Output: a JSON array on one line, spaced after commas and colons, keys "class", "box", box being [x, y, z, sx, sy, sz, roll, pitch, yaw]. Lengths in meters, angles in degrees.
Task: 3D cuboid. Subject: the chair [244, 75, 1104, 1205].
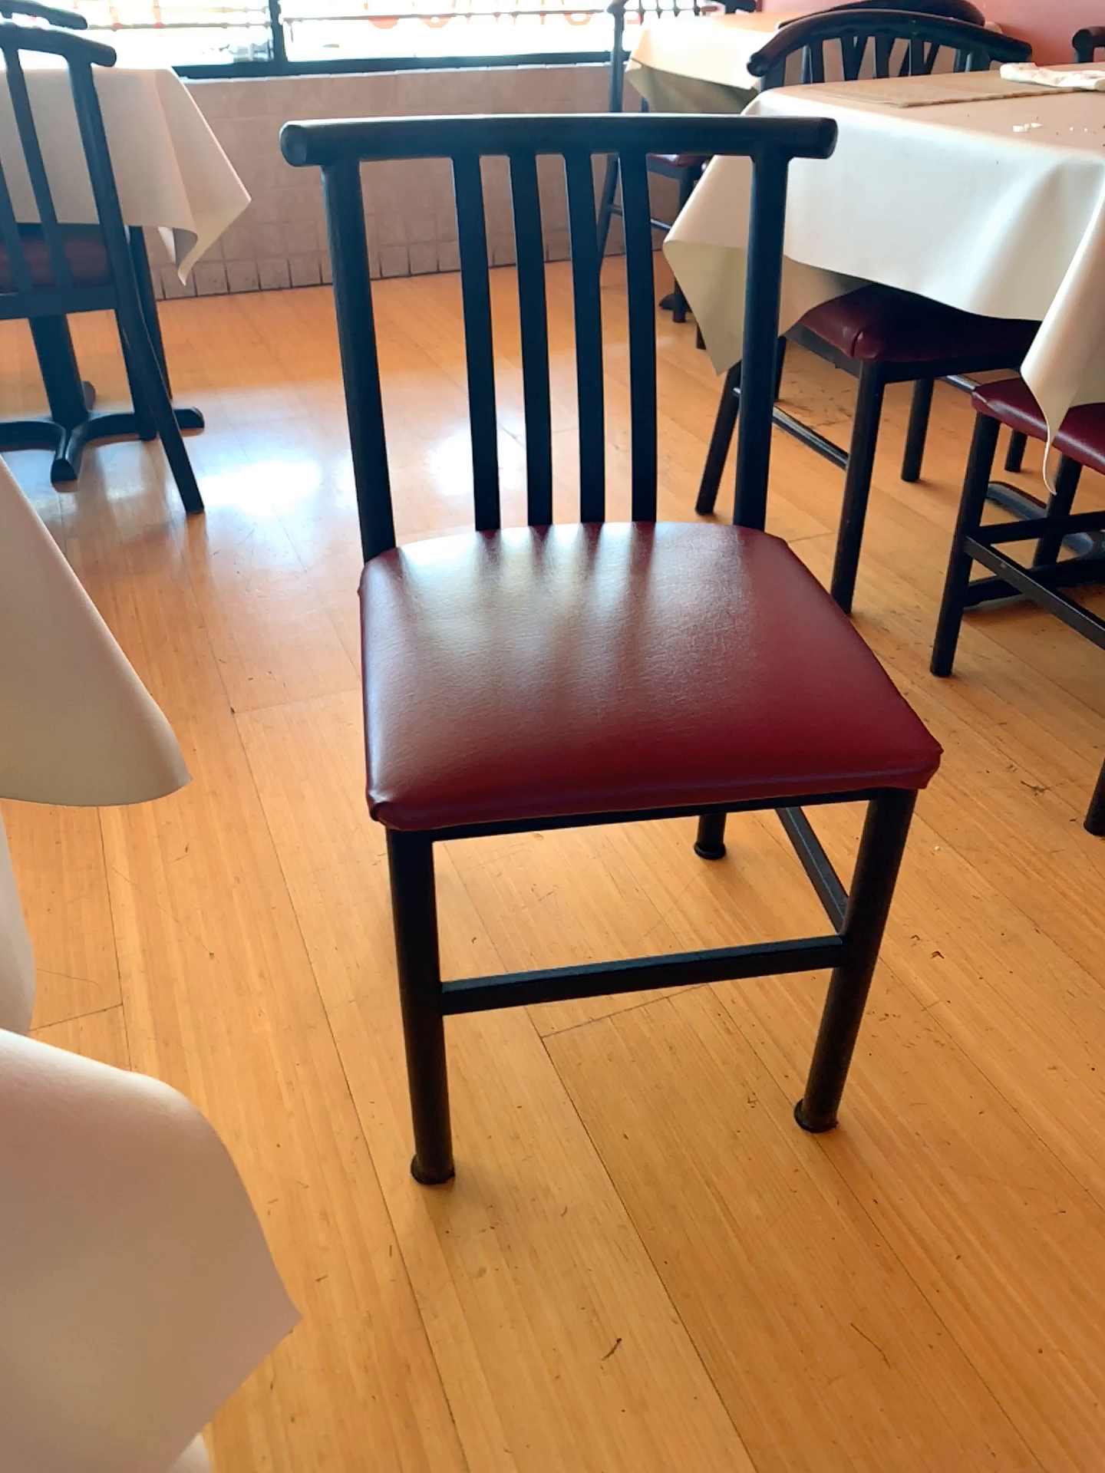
[{"class": "chair", "box": [0.037, -0.109, 0.957, 0.480, 0.726, 0.573, -4, 35, -10]}]
